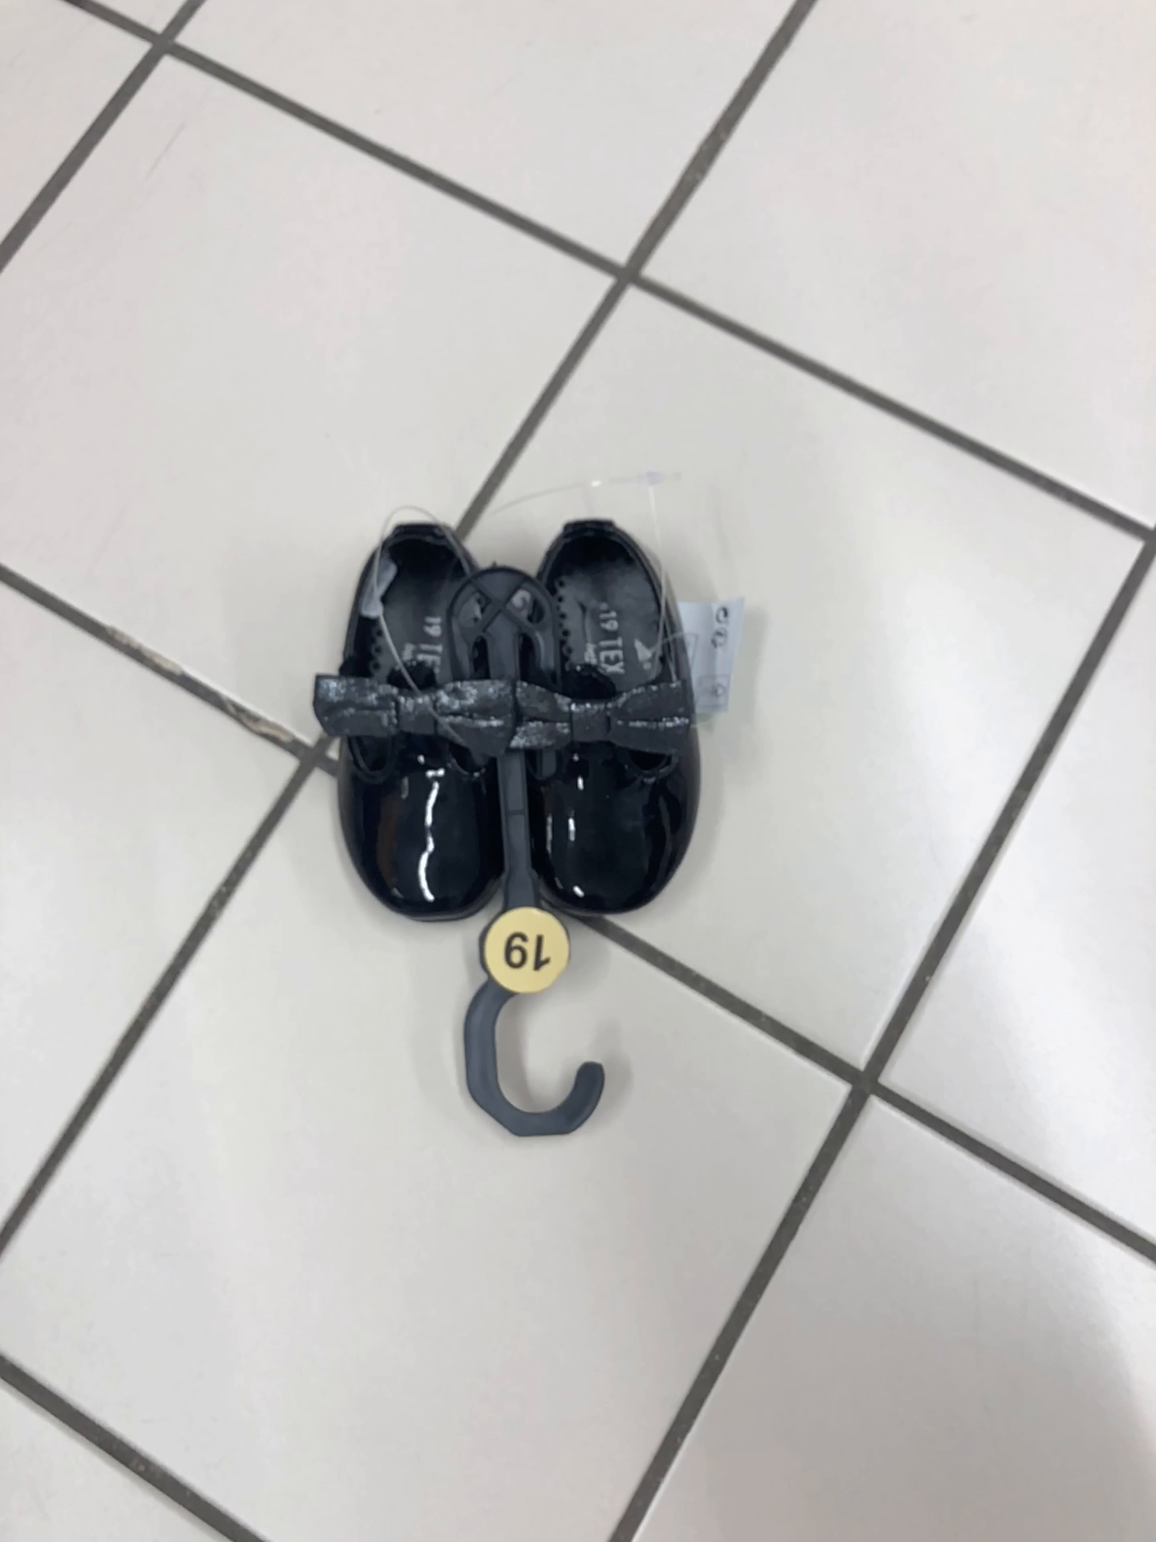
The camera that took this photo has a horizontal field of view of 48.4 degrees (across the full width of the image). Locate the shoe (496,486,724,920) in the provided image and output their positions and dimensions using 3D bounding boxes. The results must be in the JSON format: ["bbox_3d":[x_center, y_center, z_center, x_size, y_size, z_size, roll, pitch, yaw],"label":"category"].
[{"bbox_3d":[0.009,-0.020,0.387,0.061,0.037,0.123,-2,77,2],"label":"shoe"}]

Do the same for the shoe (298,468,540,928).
[{"bbox_3d":[-0.045,-0.020,0.383,0.061,0.053,0.125,-2,77,2],"label":"shoe"}]
